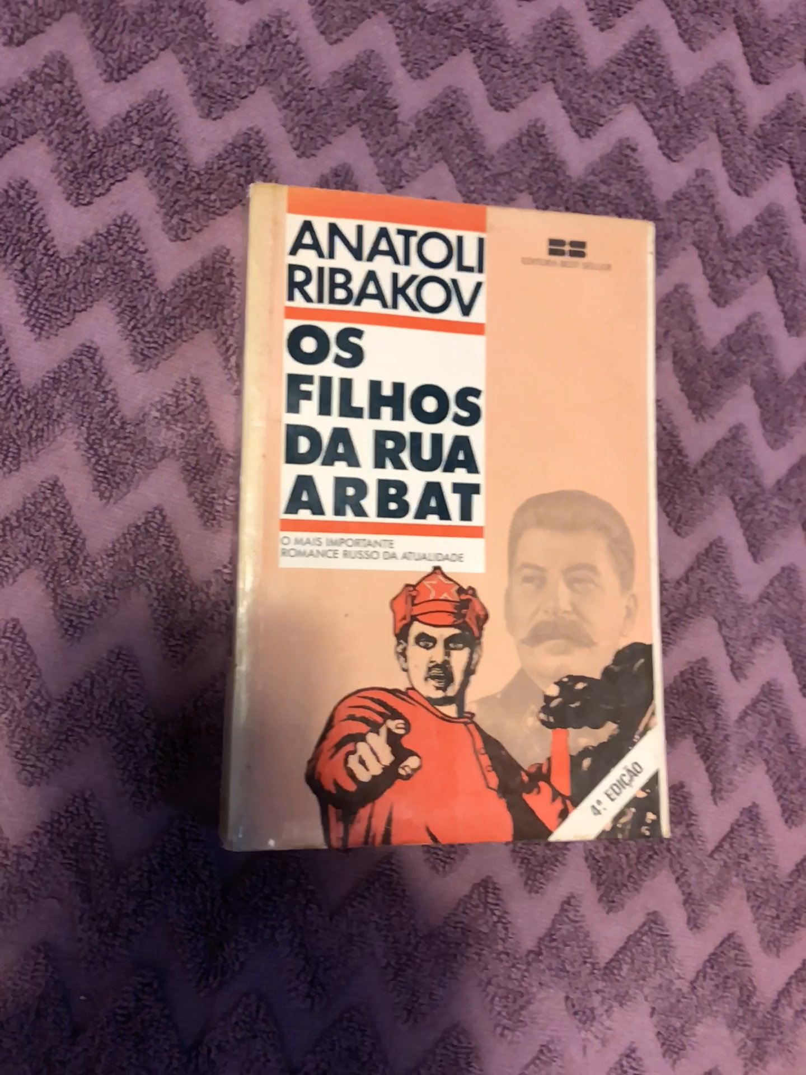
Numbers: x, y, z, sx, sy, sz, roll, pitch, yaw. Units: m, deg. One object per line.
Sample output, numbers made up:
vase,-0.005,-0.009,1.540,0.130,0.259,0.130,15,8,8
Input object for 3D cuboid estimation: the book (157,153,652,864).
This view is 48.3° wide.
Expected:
book,0.000,-0.008,0.274,0.140,0.040,0.190,1,86,-12
